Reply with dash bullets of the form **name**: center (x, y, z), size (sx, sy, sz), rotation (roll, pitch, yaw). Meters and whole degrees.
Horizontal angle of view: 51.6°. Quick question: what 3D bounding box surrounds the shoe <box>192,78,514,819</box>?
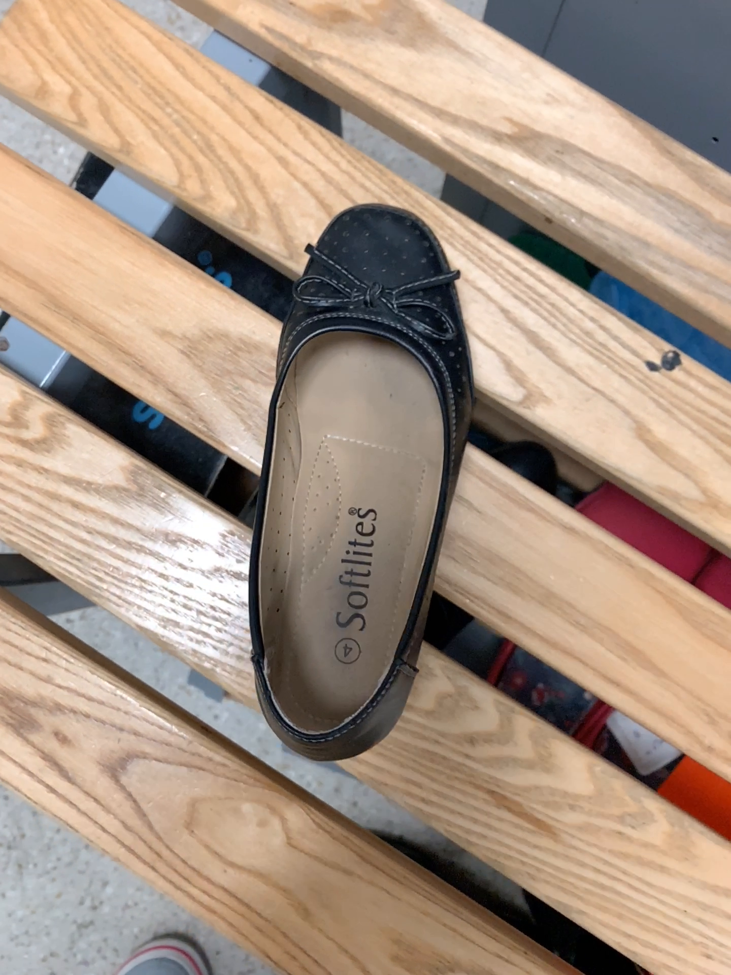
- **shoe**: center (-0.001, -0.017, 0.334), size (0.087, 0.109, 0.272), rotation (7, 80, 0)
